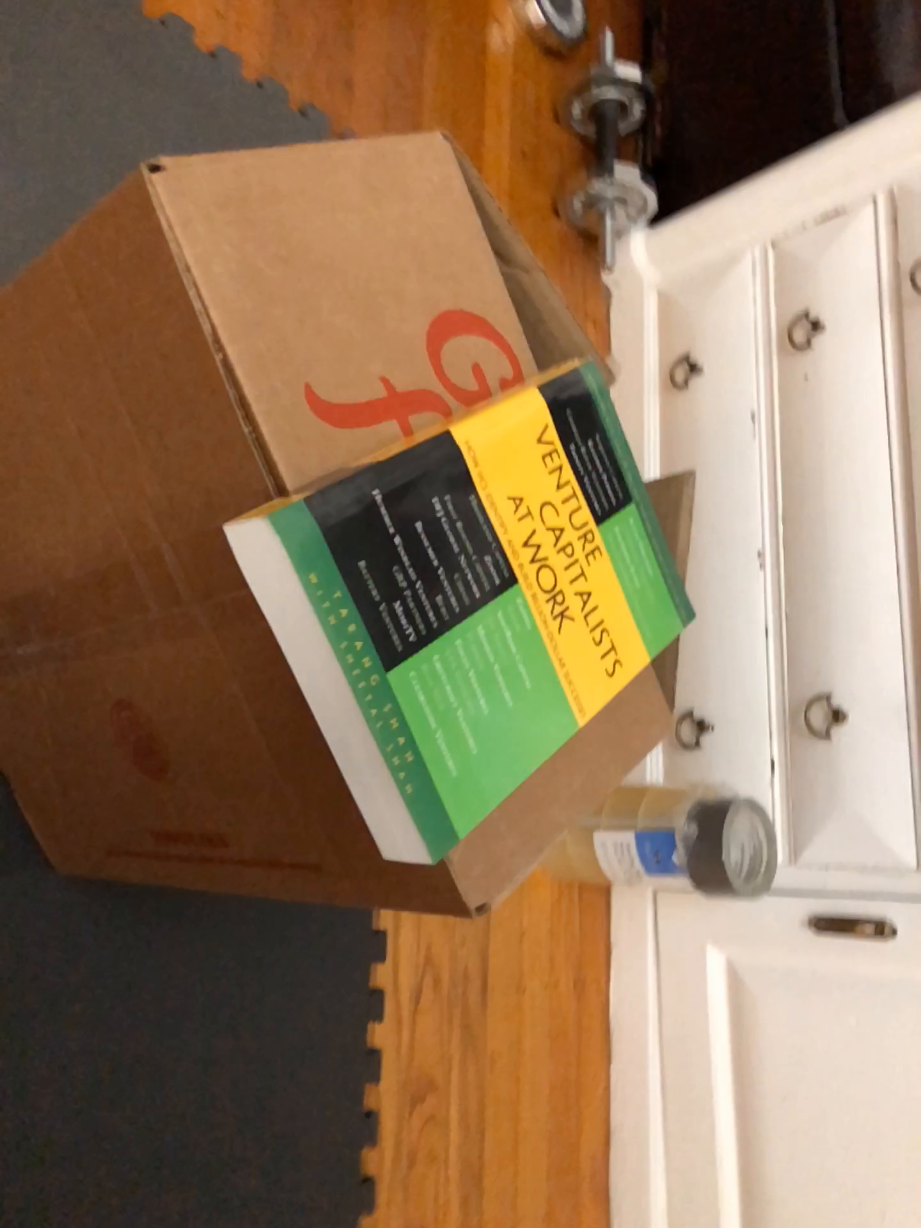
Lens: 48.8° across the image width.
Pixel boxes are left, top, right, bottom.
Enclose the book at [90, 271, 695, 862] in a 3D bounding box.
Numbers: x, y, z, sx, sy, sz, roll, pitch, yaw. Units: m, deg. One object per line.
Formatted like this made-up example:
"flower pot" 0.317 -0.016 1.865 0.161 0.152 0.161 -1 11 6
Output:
"book" -0.003 -0.038 0.440 0.261 0.040 0.160 -35 106 -42
